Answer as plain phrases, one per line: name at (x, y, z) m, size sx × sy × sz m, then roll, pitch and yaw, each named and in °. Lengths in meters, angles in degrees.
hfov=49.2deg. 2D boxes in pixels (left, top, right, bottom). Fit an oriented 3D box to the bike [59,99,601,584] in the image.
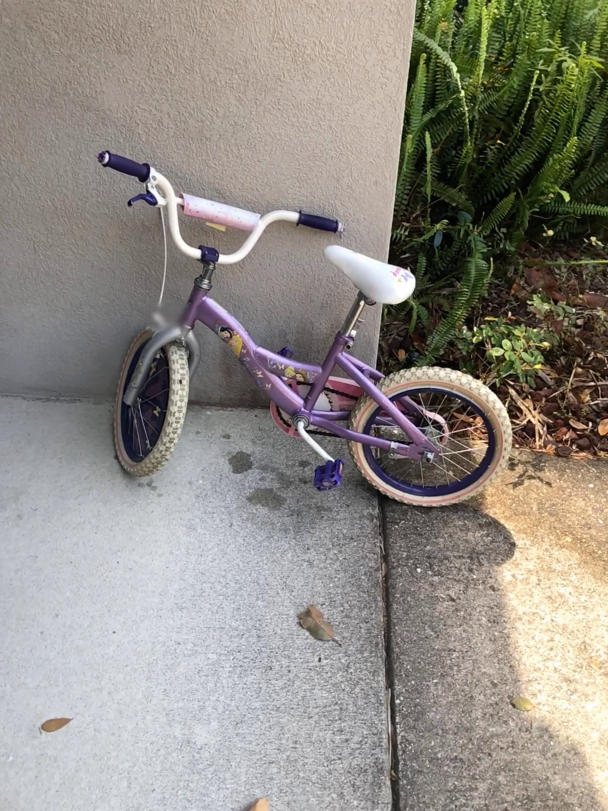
bike at (0.075, -0.154, 1.521) m, size 0.846 × 0.816 × 0.619 m, roll 7°, pitch 41°, yaw 8°
